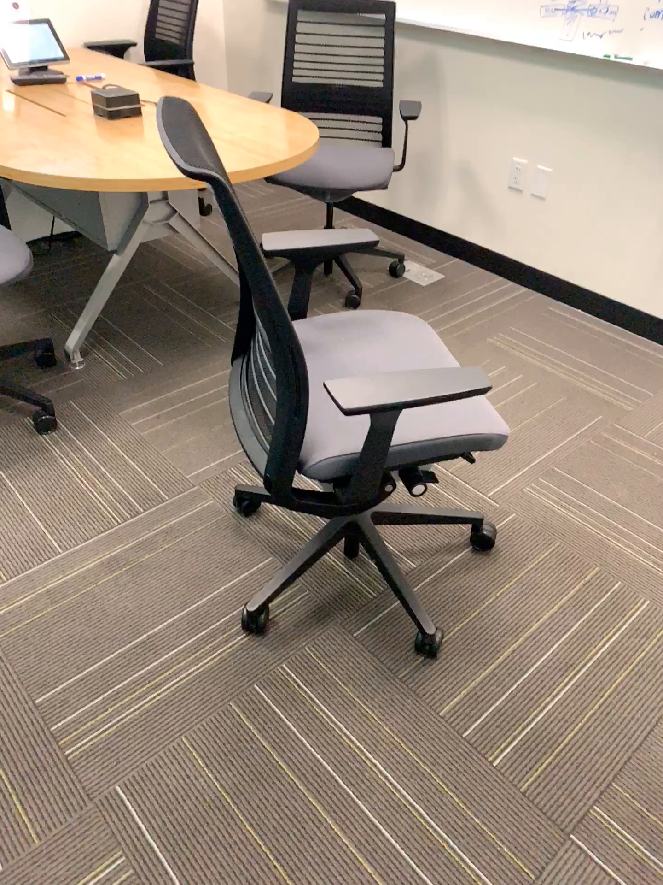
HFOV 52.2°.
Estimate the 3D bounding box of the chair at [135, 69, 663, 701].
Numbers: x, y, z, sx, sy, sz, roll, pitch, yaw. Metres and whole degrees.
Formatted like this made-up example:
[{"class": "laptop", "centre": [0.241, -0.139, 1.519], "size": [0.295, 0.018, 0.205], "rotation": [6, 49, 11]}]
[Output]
[{"class": "chair", "centre": [0.038, -0.121, 1.352], "size": [0.690, 0.994, 0.654], "rotation": [-7, 39, -11]}]
